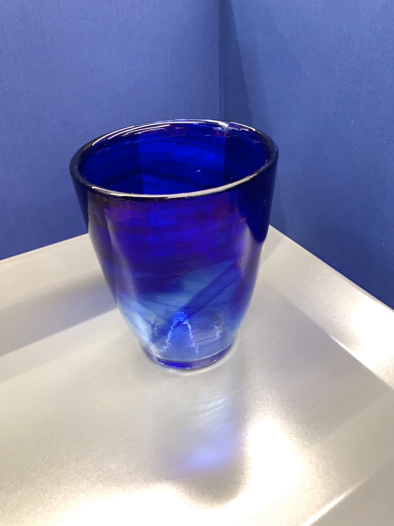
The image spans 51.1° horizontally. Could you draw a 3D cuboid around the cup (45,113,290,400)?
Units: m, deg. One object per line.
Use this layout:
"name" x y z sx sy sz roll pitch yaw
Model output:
"cup" -0.004 -0.007 0.210 0.087 0.111 0.082 -1 34 1
